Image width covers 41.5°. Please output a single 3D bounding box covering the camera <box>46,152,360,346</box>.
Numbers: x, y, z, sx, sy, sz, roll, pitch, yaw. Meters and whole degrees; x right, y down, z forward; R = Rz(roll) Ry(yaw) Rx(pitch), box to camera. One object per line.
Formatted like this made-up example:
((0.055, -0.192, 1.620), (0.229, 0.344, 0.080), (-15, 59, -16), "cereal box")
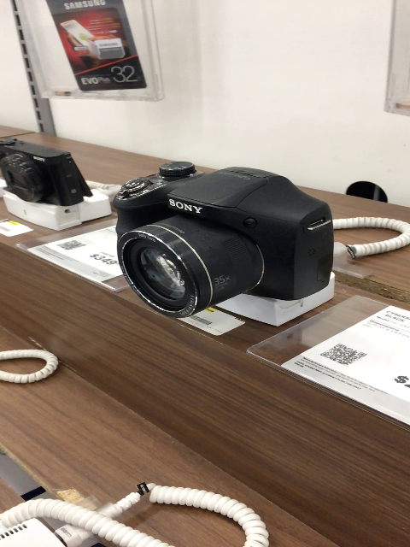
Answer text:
((-0.001, -0.025, 0.352), (0.135, 0.072, 0.116), (23, 37, 38), "camera")
